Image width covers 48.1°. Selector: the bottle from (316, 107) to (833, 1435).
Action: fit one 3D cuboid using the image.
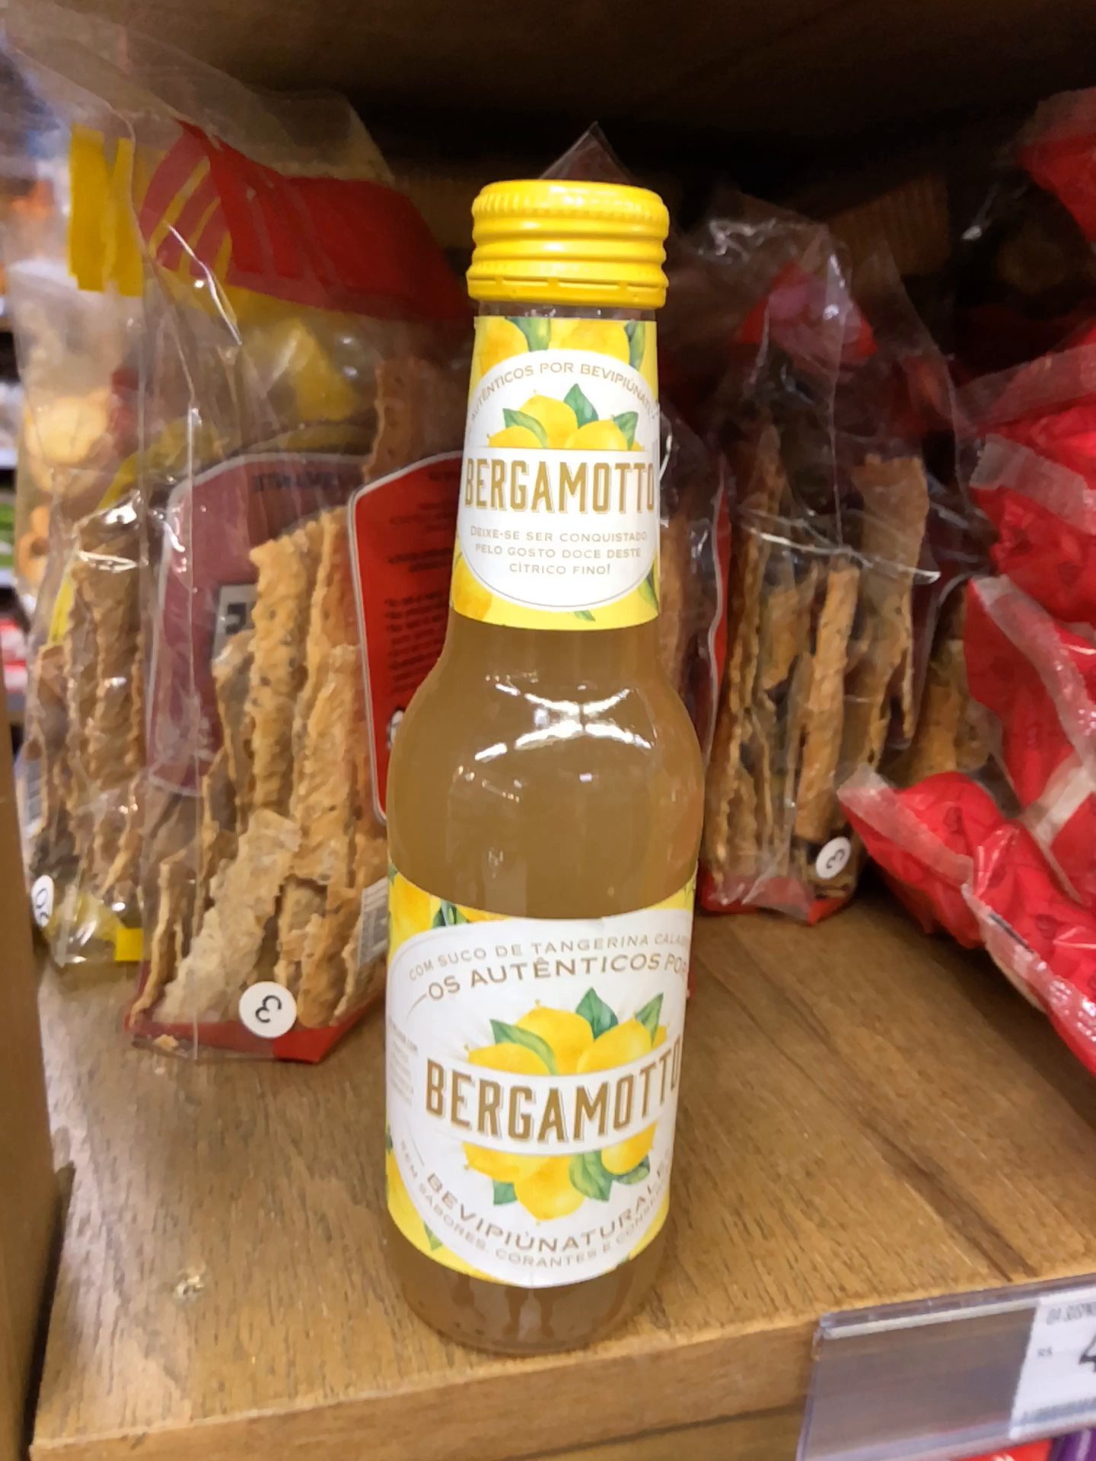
[{"bbox_3d":[-0.005,0.011,0.210,0.060,0.199,0.060,3,17,-1],"label":"bottle"}]
